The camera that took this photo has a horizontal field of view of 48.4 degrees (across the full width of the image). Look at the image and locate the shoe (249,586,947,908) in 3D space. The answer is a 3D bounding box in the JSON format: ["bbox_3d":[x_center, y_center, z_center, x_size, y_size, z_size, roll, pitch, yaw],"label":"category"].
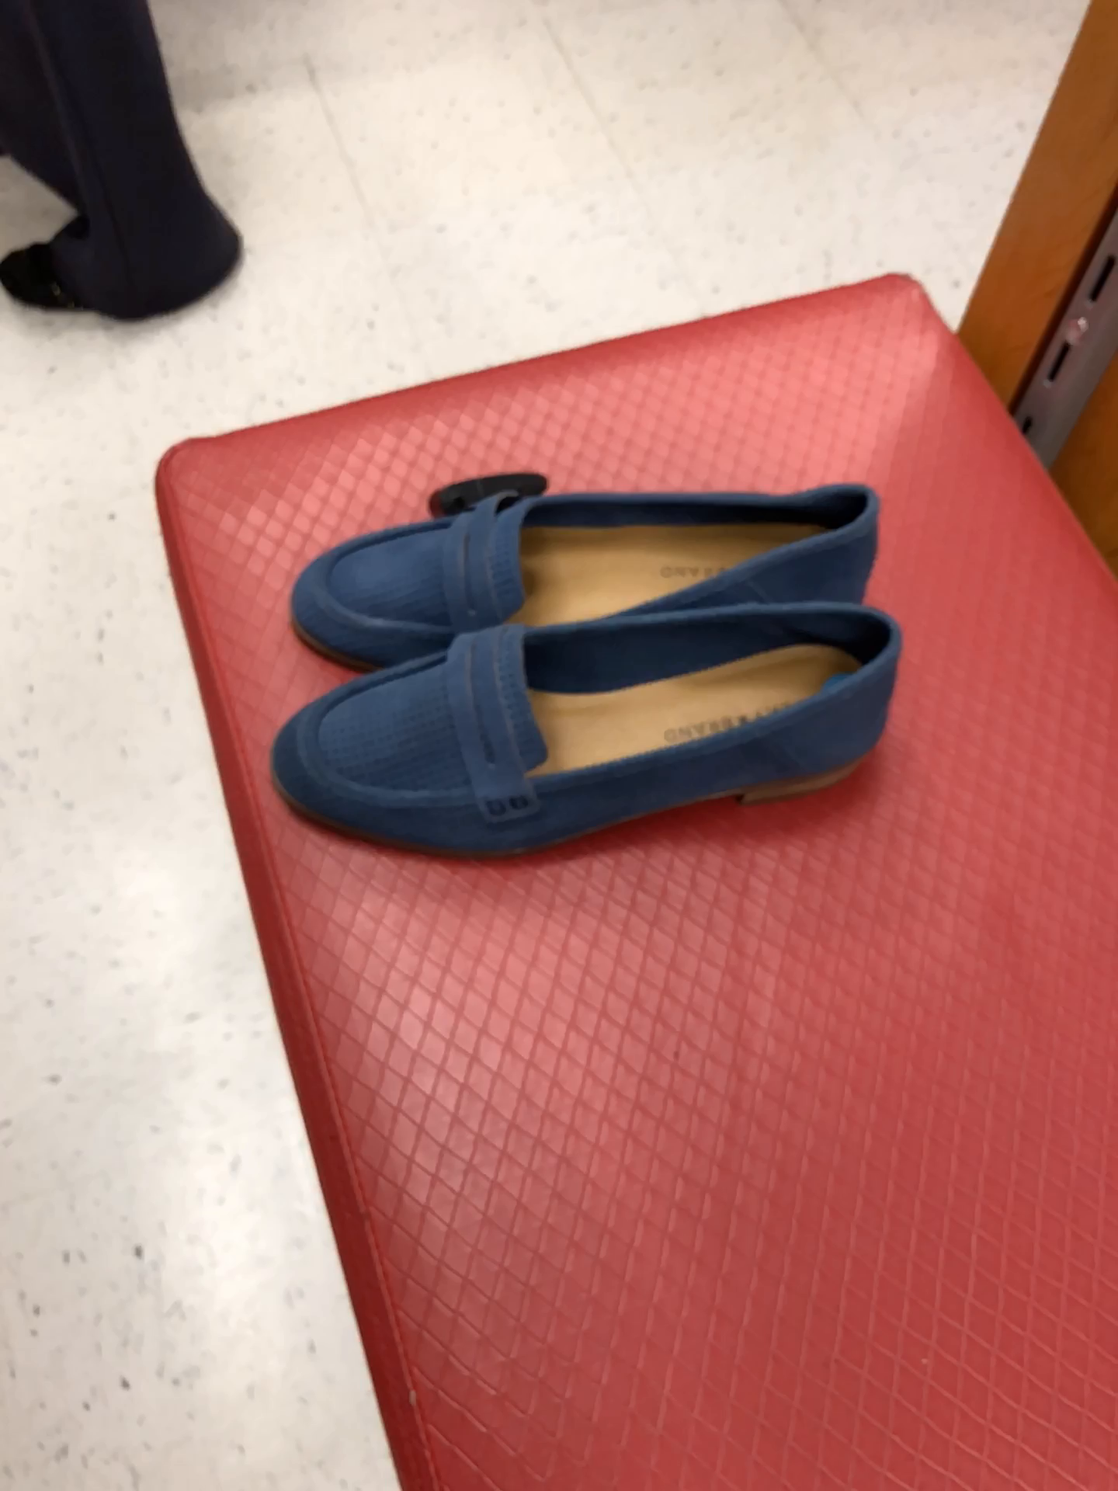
[{"bbox_3d":[0.011,0.001,0.506,0.258,0.069,0.085,-5,62,-5],"label":"shoe"}]

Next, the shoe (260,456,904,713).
[{"bbox_3d":[0.009,-0.068,0.539,0.253,0.069,0.082,1,61,-2],"label":"shoe"}]
